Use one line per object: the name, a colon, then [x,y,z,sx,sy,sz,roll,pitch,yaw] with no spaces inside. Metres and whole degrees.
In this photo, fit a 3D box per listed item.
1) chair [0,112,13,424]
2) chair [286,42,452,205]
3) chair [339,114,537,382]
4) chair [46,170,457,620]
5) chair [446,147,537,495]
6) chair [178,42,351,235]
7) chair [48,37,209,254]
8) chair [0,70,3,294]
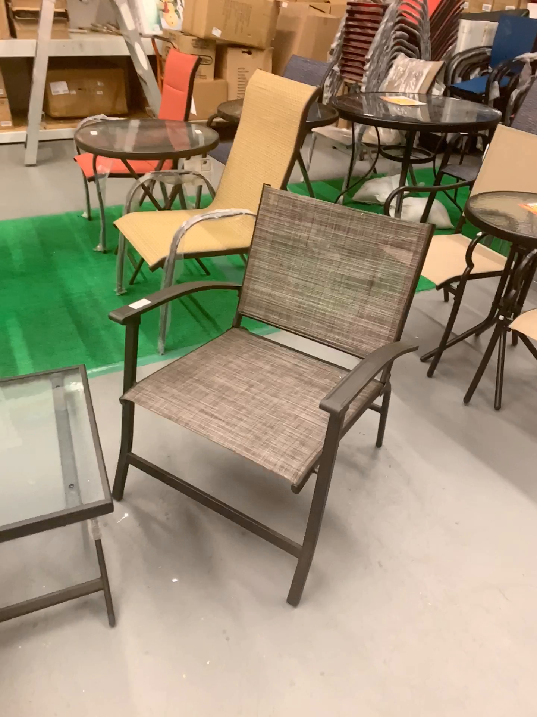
chair: [-1.304,-0.333,1.856,0.629,0.827,0.557,-10,37,-22]
chair: [0.731,-1.835,4.242,0.869,0.997,0.697,-13,38,-26]
chair: [0.773,-0.478,2.214,0.629,0.837,0.576,-15,39,-28]
chair: [-0.005,0.023,1.511,0.675,0.778,0.772,21,38,23]
chair: [1.110,-0.159,1.775,0.630,0.847,0.556,-20,41,-33]
chair: [-0.077,-1.431,3.505,0.769,0.957,0.737,-15,39,-28]
chair: [-0.777,-1.201,3.057,0.669,0.957,0.677,-11,37,-23]
chair: [-1.693,-0.844,2.573,0.629,0.837,0.557,-10,37,-22]
